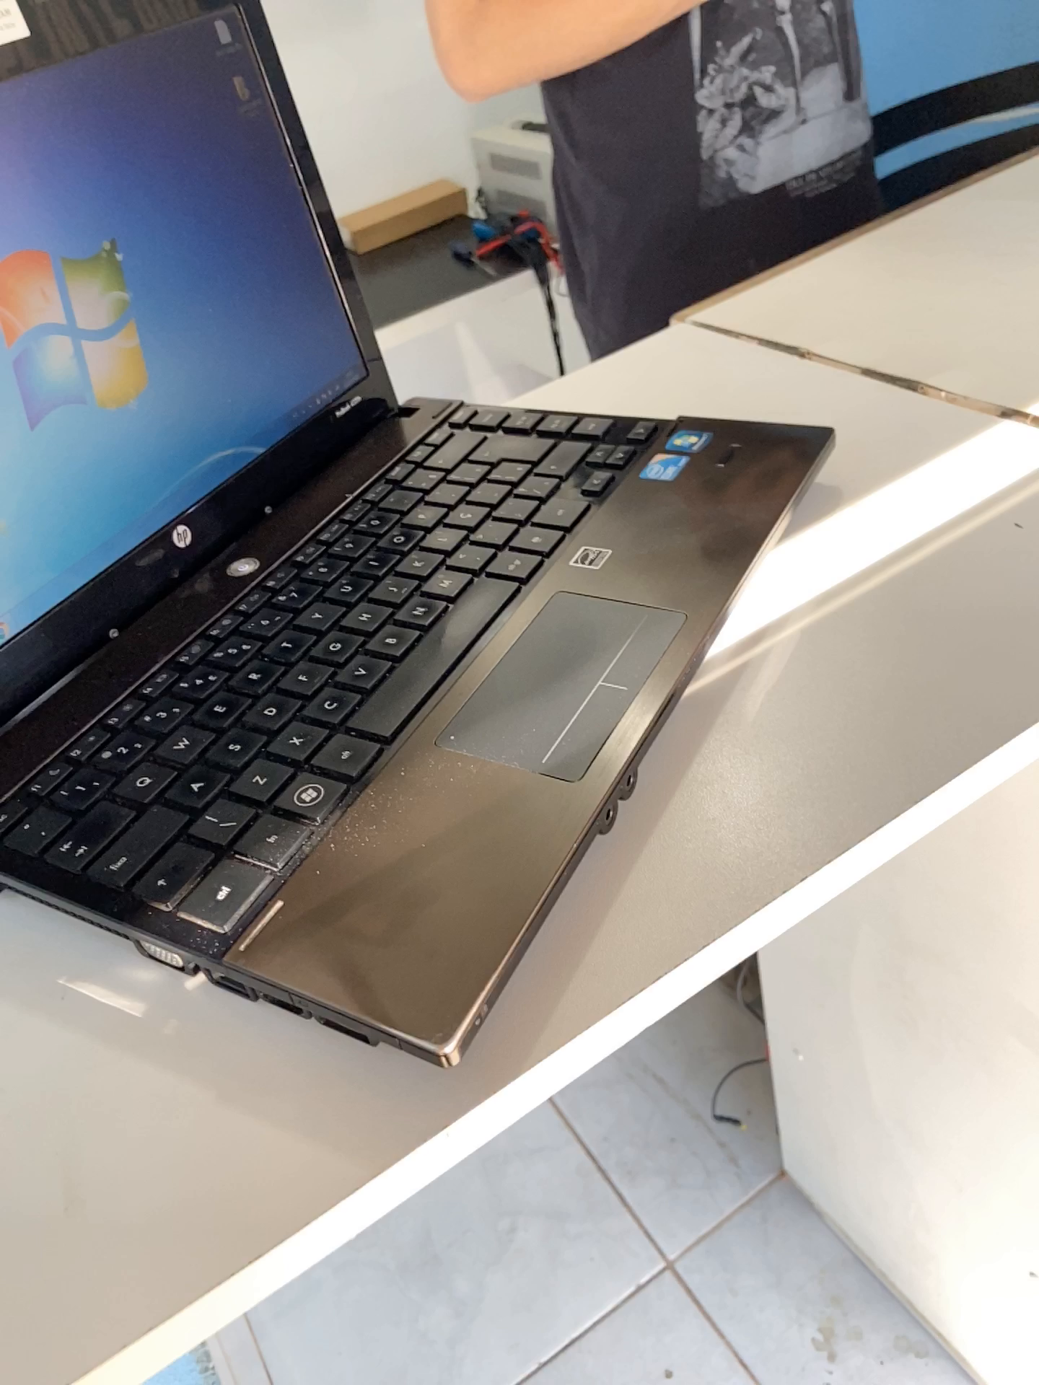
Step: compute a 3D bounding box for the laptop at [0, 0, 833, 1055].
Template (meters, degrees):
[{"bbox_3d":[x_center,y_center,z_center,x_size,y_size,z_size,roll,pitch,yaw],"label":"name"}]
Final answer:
[{"bbox_3d":[-0.077,-0.118,0.359,0.259,0.207,0.323,12,45,30],"label":"laptop"}]
